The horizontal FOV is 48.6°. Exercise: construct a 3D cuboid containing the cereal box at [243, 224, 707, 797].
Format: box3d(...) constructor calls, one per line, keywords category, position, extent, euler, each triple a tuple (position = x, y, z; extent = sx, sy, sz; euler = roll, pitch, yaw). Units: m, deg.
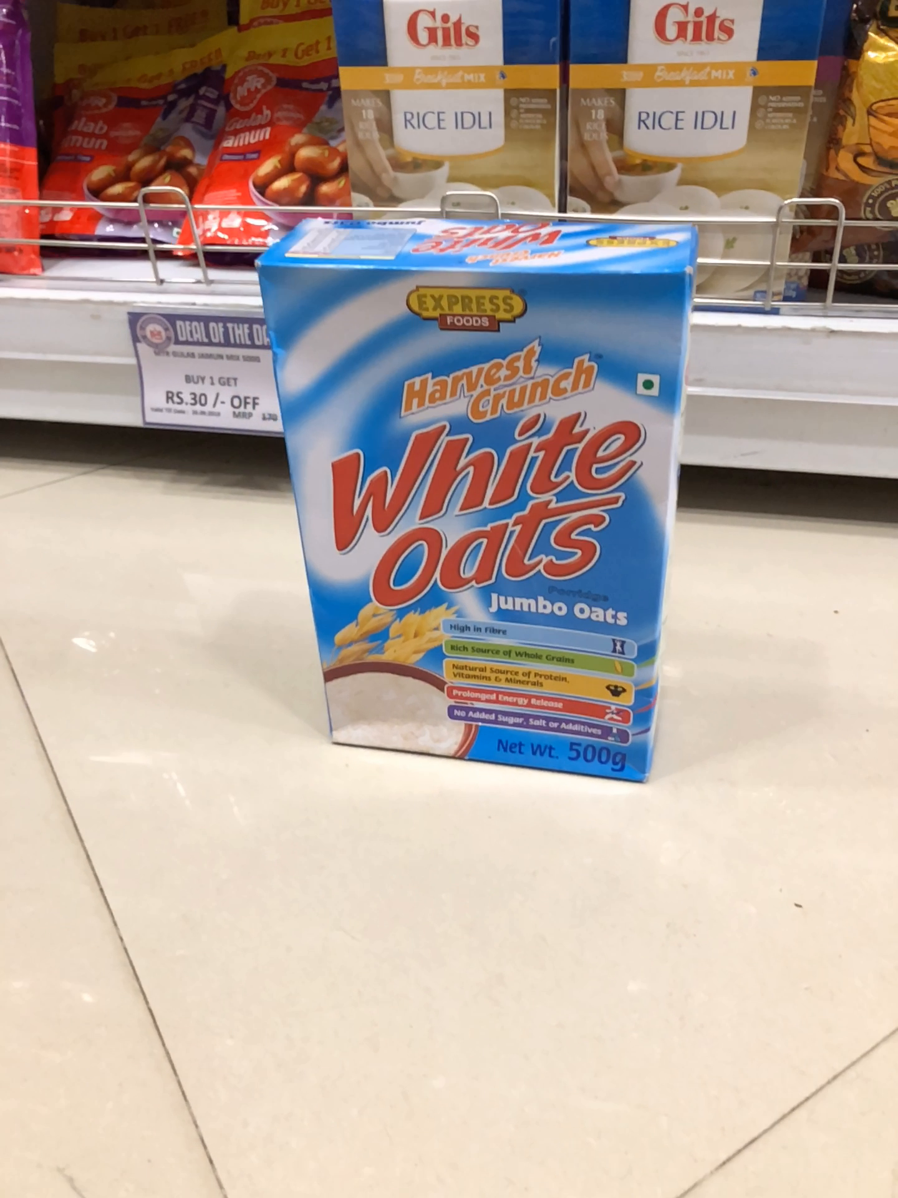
box3d(category="cereal box", position=(0.016, -0.030, 0.403), extent=(0.150, 0.219, 0.060), euler=(6, 36, 13))
